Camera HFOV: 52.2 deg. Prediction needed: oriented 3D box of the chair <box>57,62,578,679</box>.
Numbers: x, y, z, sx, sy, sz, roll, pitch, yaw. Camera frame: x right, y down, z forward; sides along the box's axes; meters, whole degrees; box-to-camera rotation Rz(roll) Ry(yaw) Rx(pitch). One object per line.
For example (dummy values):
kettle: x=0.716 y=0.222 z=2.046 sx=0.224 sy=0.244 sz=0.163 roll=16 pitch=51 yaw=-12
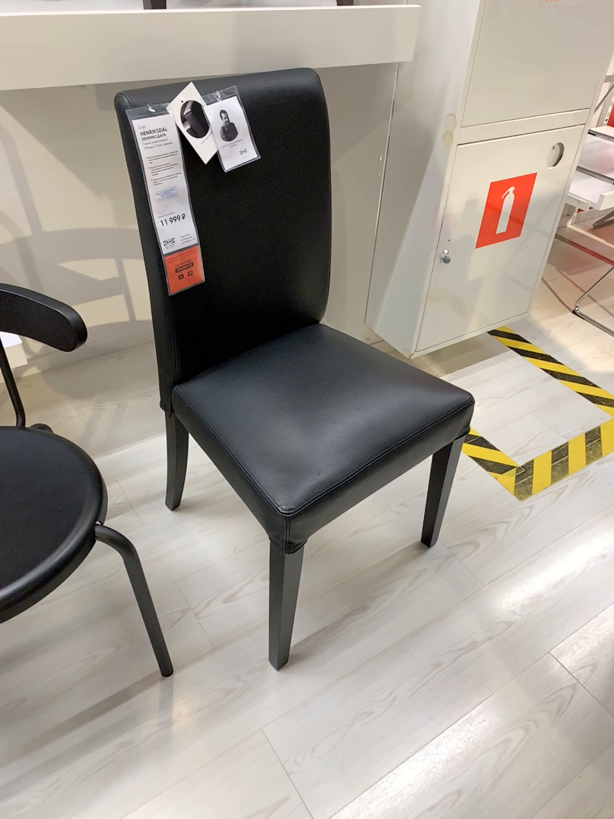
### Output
chair: x=-0.013 y=-0.094 z=1.302 sx=0.582 sy=0.974 sz=0.601 roll=-28 pitch=49 yaw=-34
